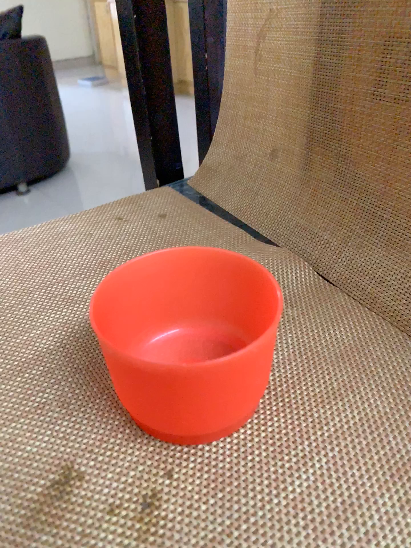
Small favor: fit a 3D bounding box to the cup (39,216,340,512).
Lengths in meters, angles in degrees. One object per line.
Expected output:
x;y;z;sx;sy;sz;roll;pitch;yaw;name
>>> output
-0.007;0.025;0.172;0.078;0.050;0.082;-2;34;1;cup
